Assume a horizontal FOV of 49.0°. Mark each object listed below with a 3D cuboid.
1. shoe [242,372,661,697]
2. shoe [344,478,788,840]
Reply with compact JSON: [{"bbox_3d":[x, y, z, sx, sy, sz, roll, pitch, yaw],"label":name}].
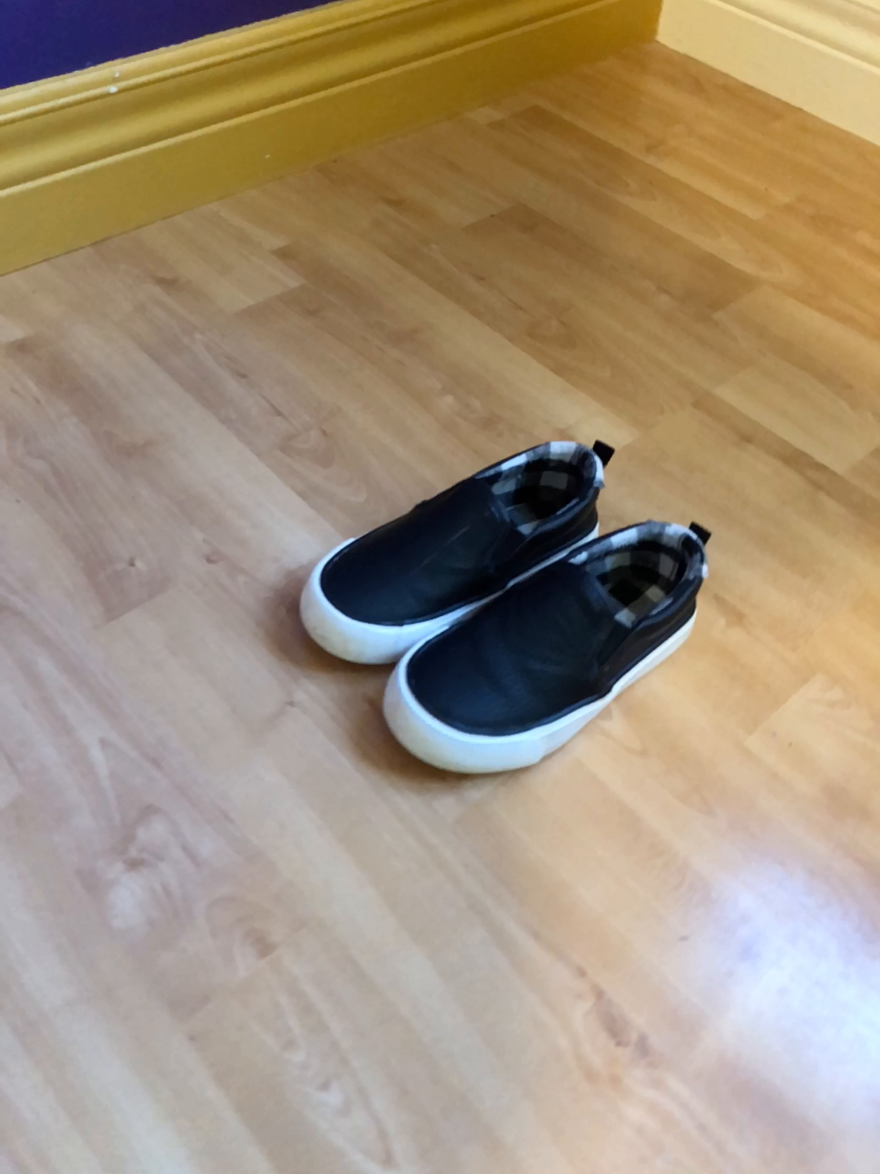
[{"bbox_3d":[0.007,-0.031,0.469,0.180,0.060,0.080,-25,56,-23],"label":"shoe"},{"bbox_3d":[0.056,0.027,0.438,0.180,0.060,0.080,-24,56,-22],"label":"shoe"}]
